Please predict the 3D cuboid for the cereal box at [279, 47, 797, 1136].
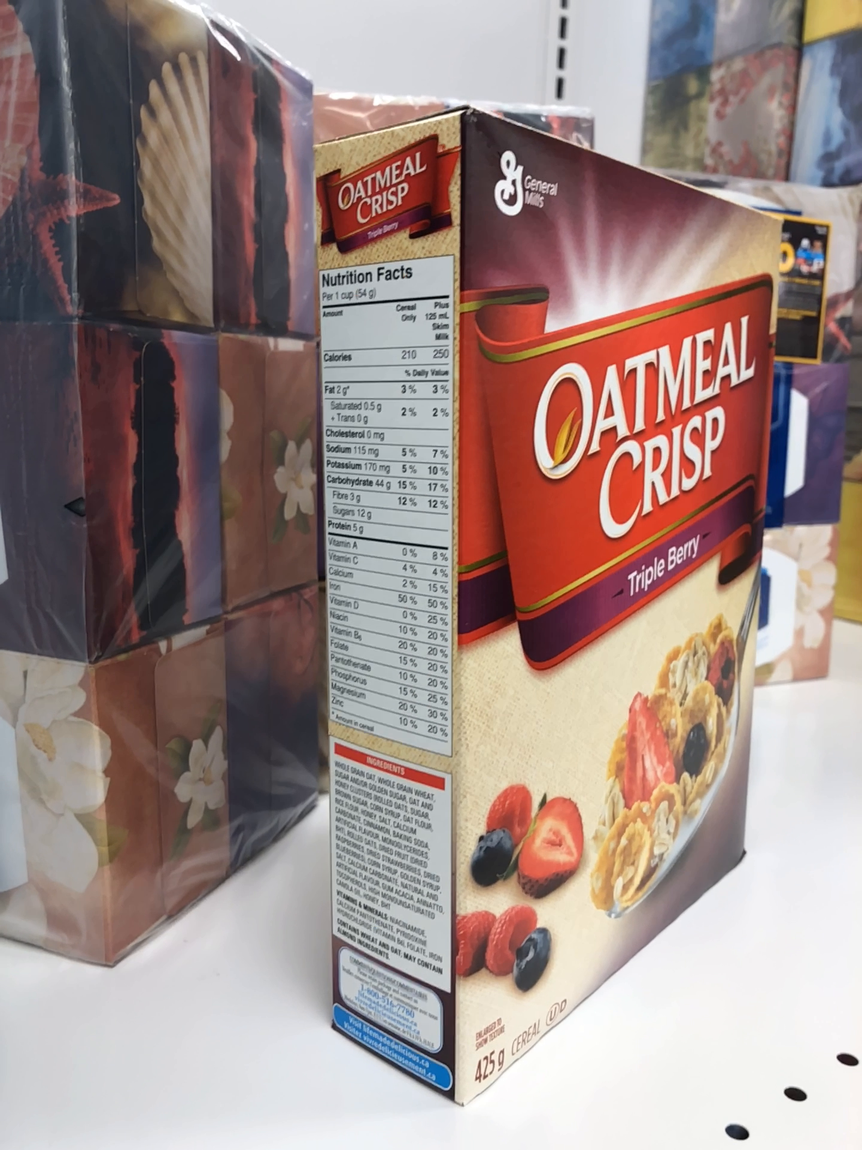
[{"bbox_3d":[0.049,0.000,0.329,0.060,0.269,0.200,8,13,40],"label":"cereal box"}]
